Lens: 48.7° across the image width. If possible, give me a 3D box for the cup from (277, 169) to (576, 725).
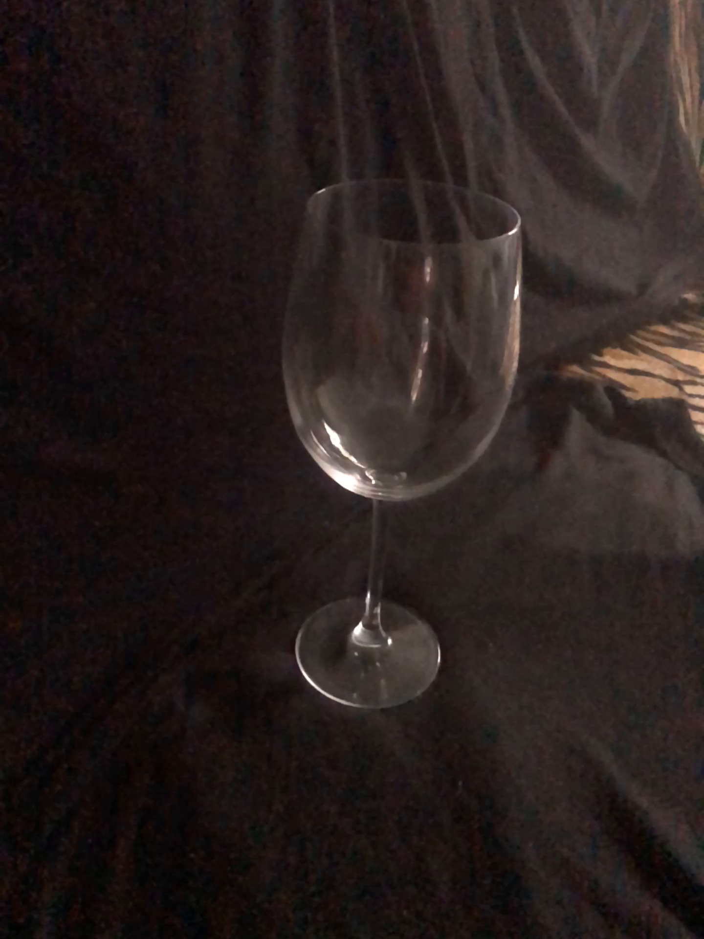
[{"bbox_3d":[0.016,0.004,0.390,0.103,0.266,0.101,3,37,-2],"label":"cup"}]
